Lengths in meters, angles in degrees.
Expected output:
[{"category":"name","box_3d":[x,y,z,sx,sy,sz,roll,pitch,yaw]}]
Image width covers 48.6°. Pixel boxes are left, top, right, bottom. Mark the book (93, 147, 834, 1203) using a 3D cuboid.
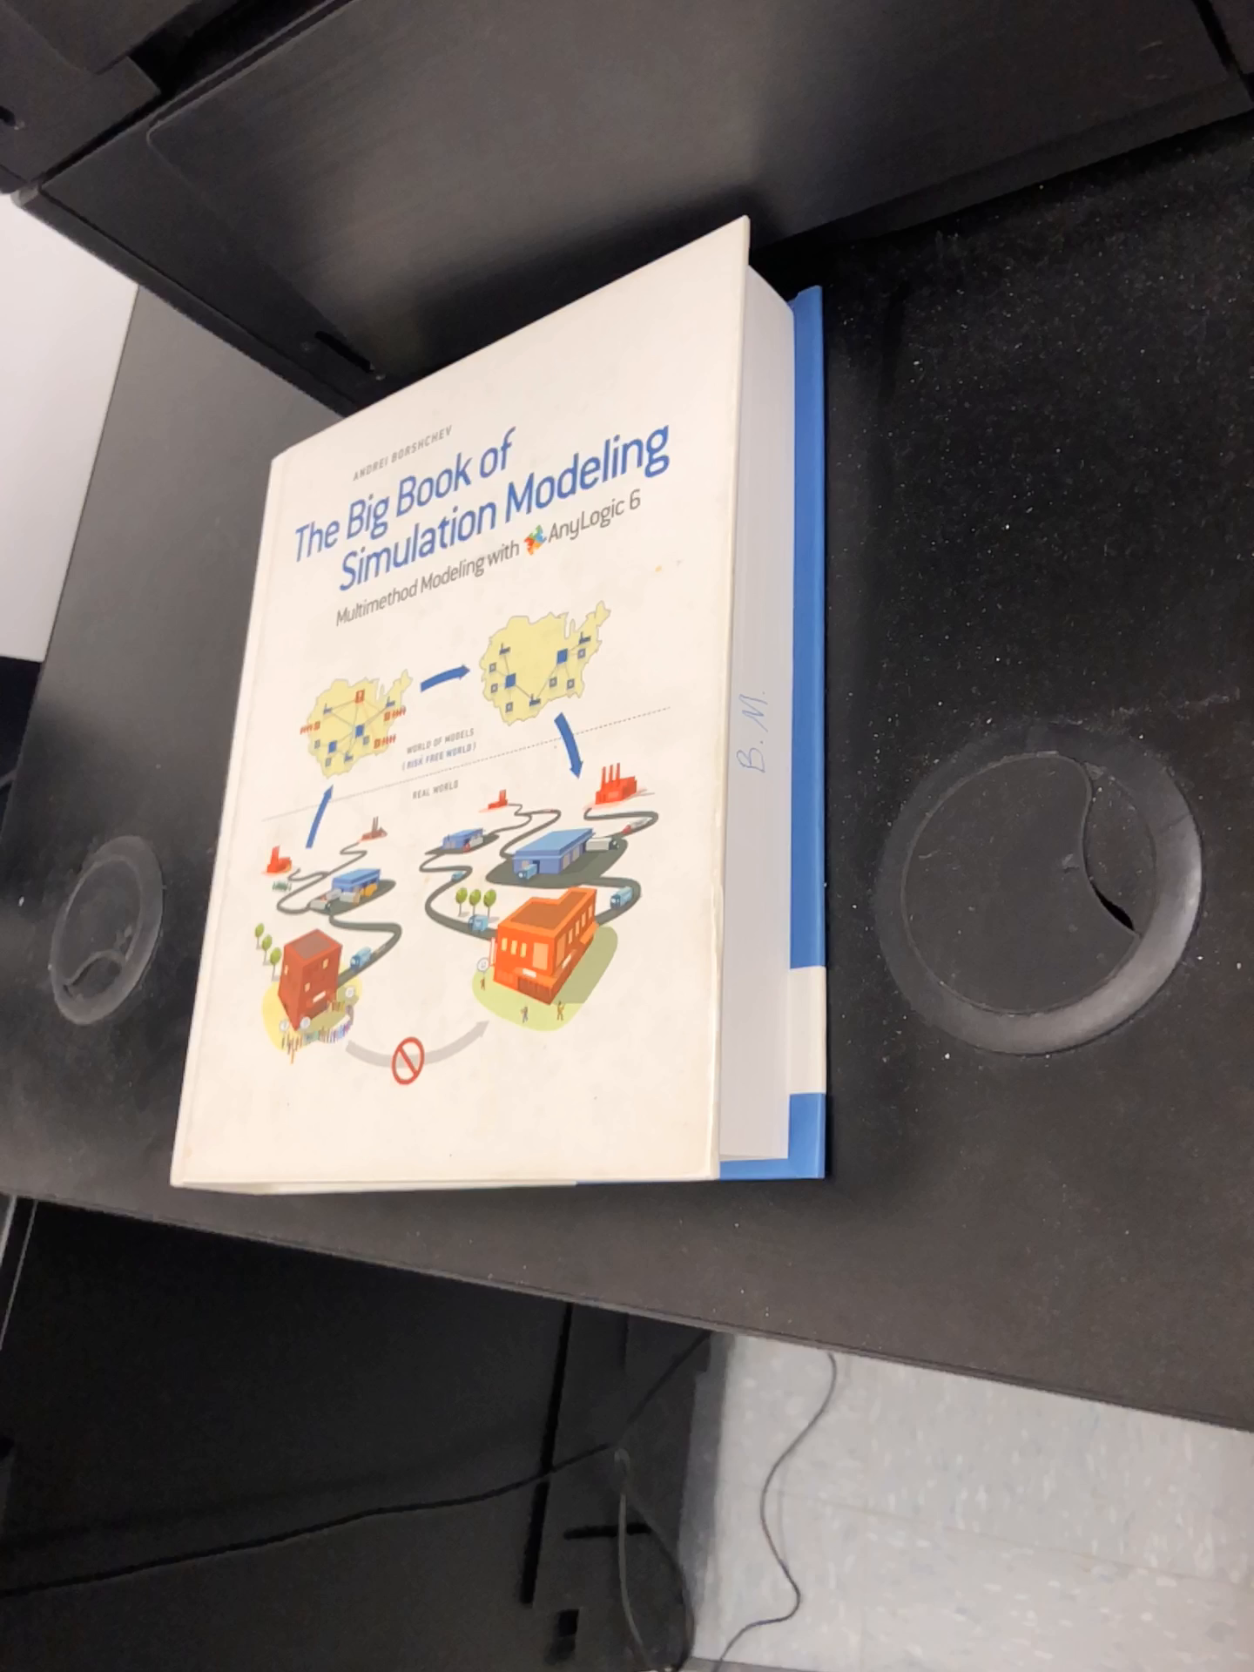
[{"category":"book","box_3d":[-0.047,-0.029,0.387,0.211,0.050,0.250,-12,66,37]}]
